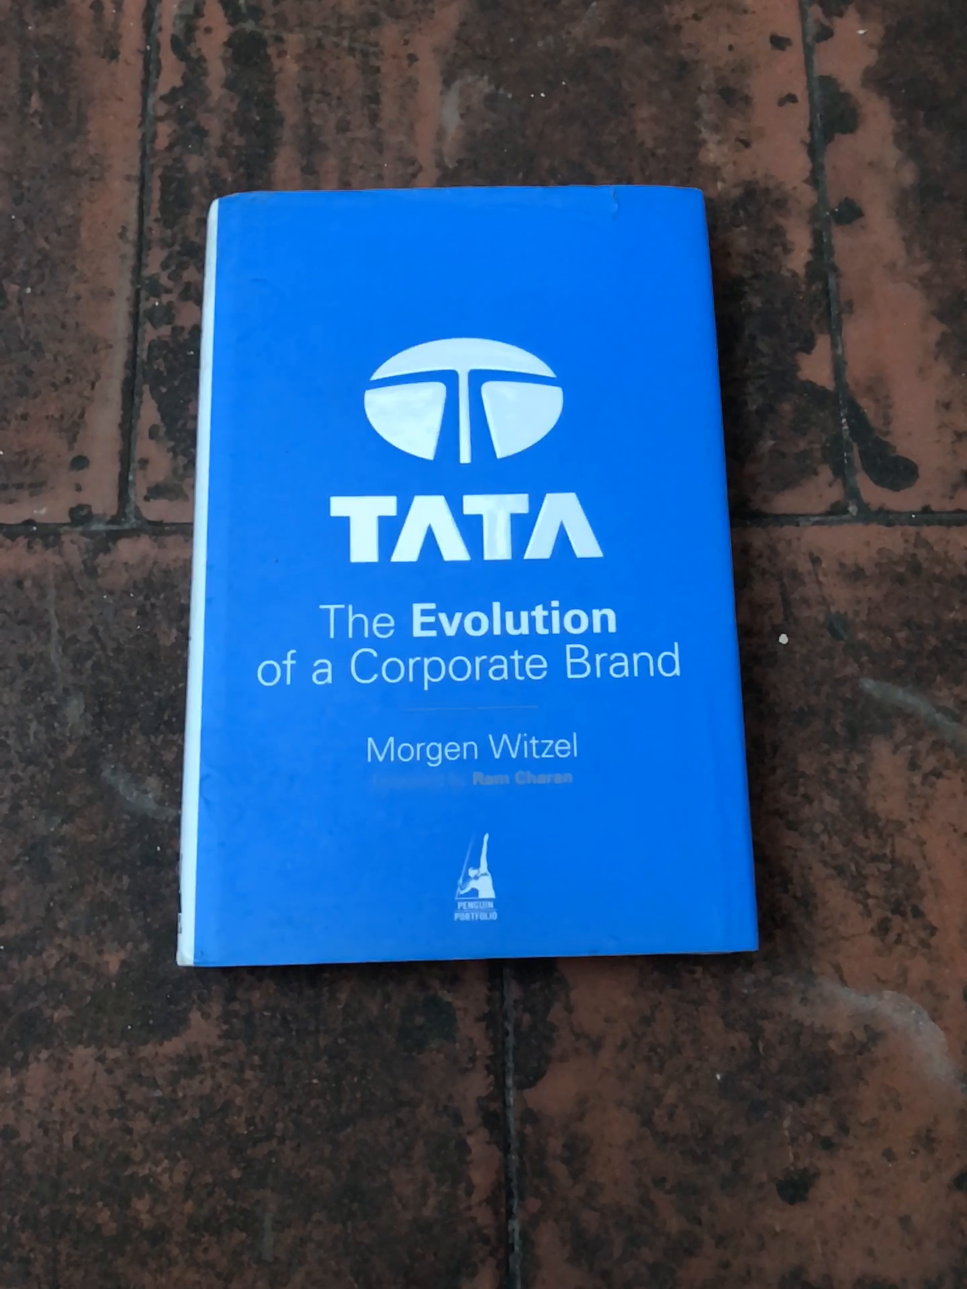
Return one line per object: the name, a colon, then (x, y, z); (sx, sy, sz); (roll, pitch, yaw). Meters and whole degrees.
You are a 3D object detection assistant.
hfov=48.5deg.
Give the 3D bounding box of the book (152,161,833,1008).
book: (0.000, -0.024, 0.314); (0.170, 0.040, 0.240); (-1, 77, -1)
